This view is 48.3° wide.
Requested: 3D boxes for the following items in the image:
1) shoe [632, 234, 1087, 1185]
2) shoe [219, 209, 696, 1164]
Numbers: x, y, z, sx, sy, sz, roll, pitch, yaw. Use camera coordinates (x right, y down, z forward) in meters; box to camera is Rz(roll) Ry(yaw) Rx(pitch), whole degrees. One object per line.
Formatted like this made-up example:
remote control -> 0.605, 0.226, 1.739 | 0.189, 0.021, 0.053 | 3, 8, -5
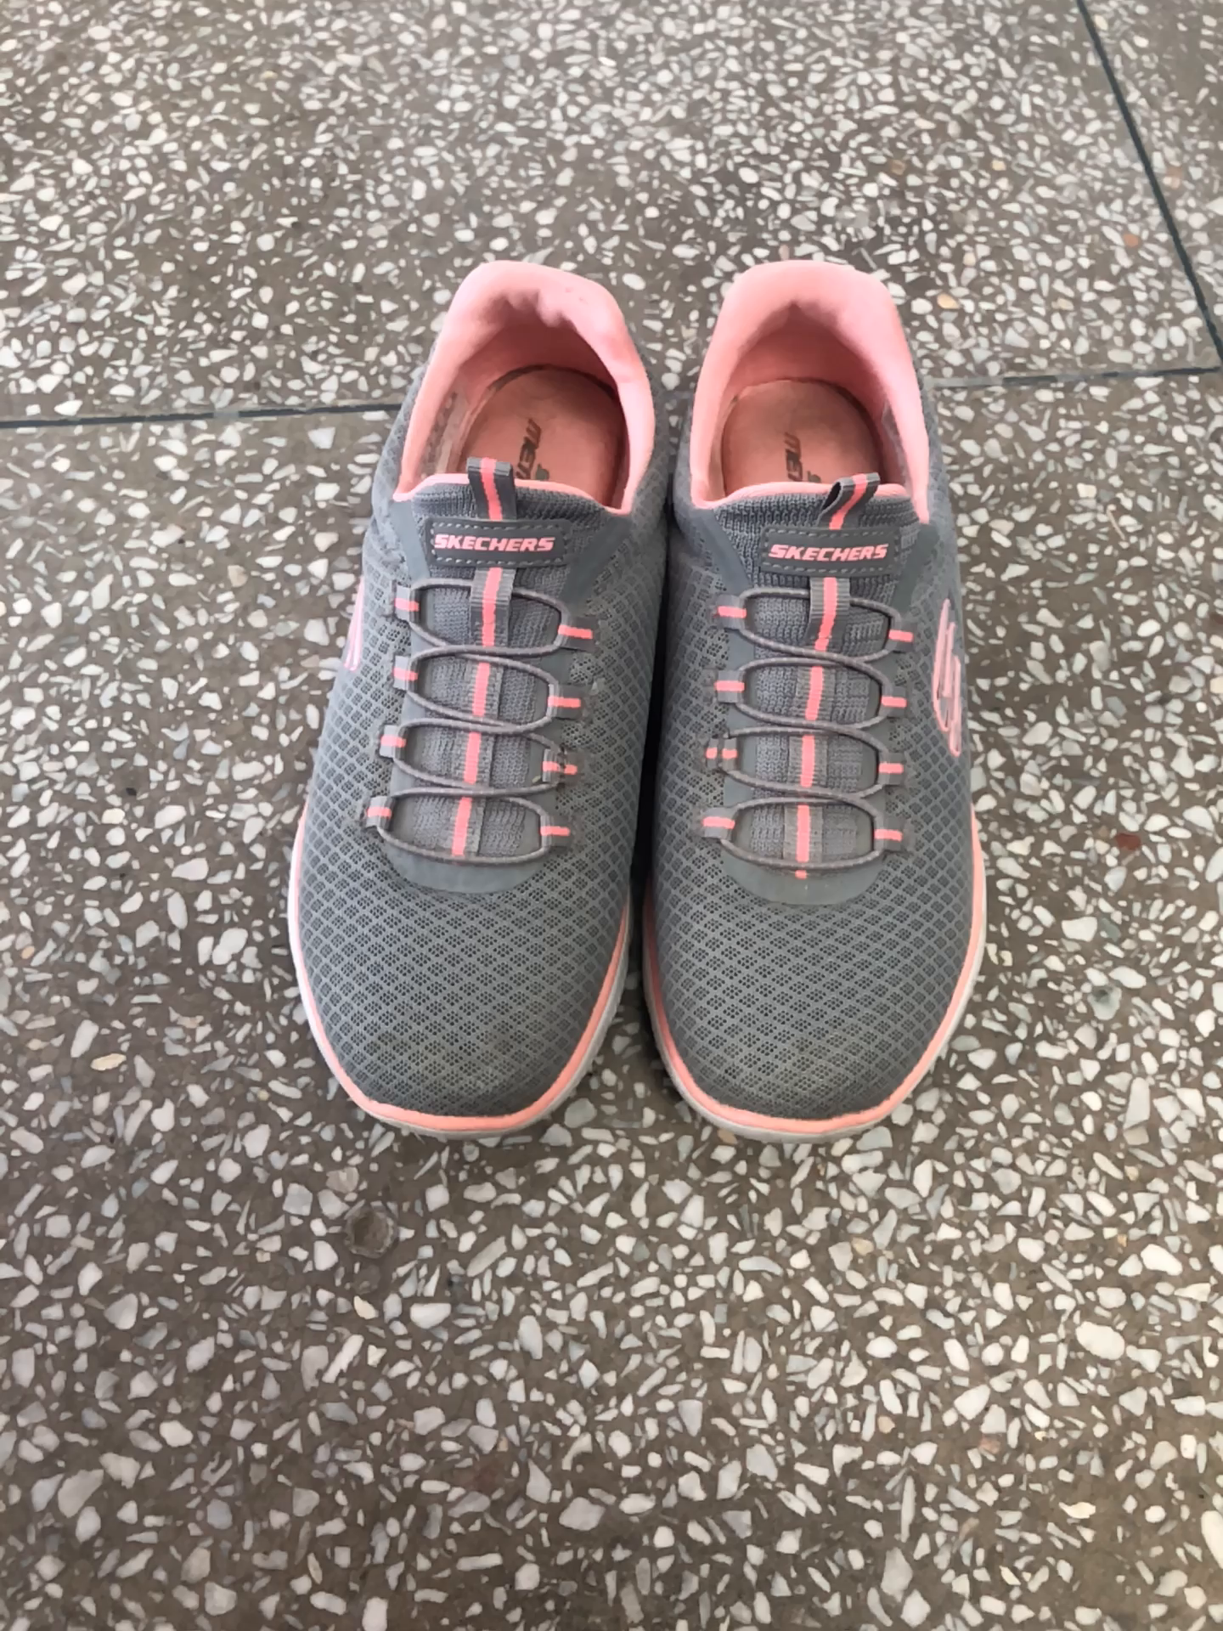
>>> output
shoe -> 0.059, -0.028, 0.368 | 0.090, 0.100, 0.230 | 4, 68, 1
shoe -> -0.031, -0.036, 0.380 | 0.090, 0.100, 0.240 | 4, 68, 1
